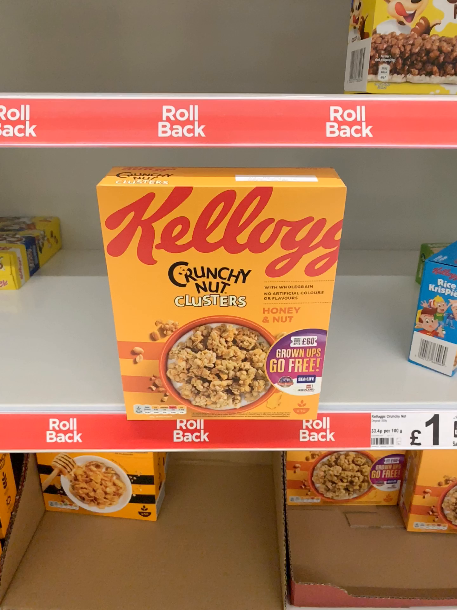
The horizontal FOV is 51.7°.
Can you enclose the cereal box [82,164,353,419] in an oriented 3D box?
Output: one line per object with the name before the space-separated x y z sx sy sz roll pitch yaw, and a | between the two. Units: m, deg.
cereal box | -0.009 -0.004 0.429 0.200 0.228 0.061 0 29 -1
